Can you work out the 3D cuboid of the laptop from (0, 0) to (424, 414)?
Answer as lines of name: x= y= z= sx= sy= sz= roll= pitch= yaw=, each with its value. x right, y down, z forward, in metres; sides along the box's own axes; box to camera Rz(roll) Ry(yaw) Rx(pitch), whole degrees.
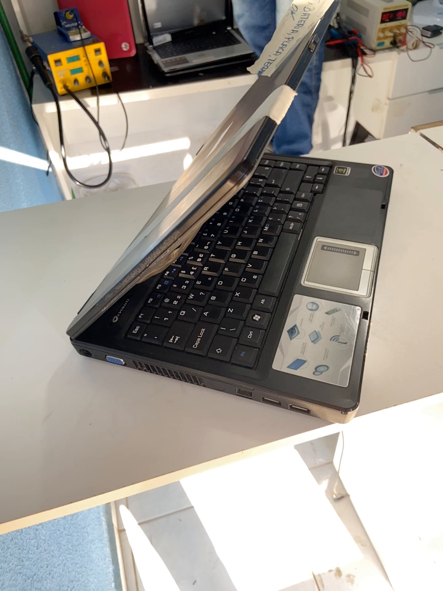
laptop: x=0.028 y=-0.115 z=0.389 sx=0.224 sy=0.175 sz=0.330 roll=11 pitch=48 yaw=16
